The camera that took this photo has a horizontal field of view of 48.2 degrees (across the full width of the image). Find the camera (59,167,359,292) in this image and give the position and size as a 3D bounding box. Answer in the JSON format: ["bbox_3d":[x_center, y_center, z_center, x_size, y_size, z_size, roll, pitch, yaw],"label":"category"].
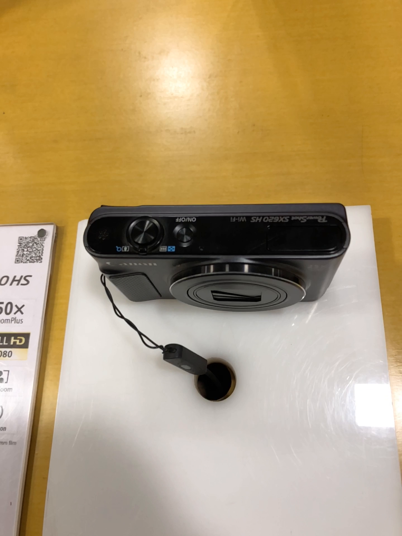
[{"bbox_3d":[0.004,-0.013,0.197,0.110,0.060,0.030,-1,71,6],"label":"camera"}]
